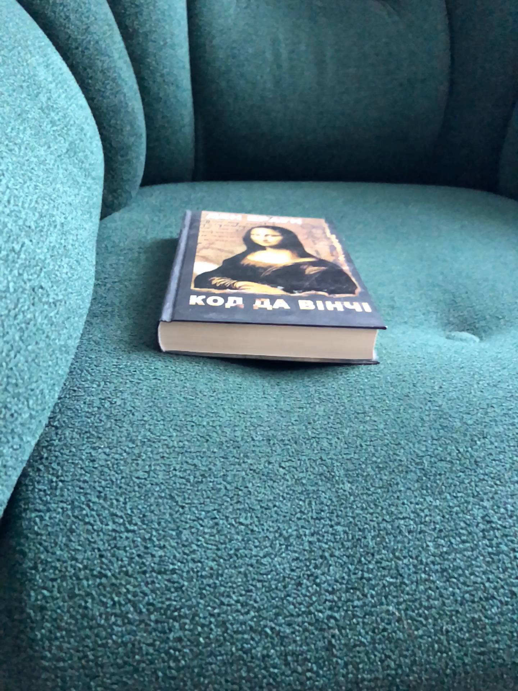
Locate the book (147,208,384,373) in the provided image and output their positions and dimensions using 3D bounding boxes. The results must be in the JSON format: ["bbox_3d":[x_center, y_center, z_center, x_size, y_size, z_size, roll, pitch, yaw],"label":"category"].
[{"bbox_3d":[-0.001,-0.052,0.422,0.135,0.030,0.211,2,30,-4],"label":"book"}]
